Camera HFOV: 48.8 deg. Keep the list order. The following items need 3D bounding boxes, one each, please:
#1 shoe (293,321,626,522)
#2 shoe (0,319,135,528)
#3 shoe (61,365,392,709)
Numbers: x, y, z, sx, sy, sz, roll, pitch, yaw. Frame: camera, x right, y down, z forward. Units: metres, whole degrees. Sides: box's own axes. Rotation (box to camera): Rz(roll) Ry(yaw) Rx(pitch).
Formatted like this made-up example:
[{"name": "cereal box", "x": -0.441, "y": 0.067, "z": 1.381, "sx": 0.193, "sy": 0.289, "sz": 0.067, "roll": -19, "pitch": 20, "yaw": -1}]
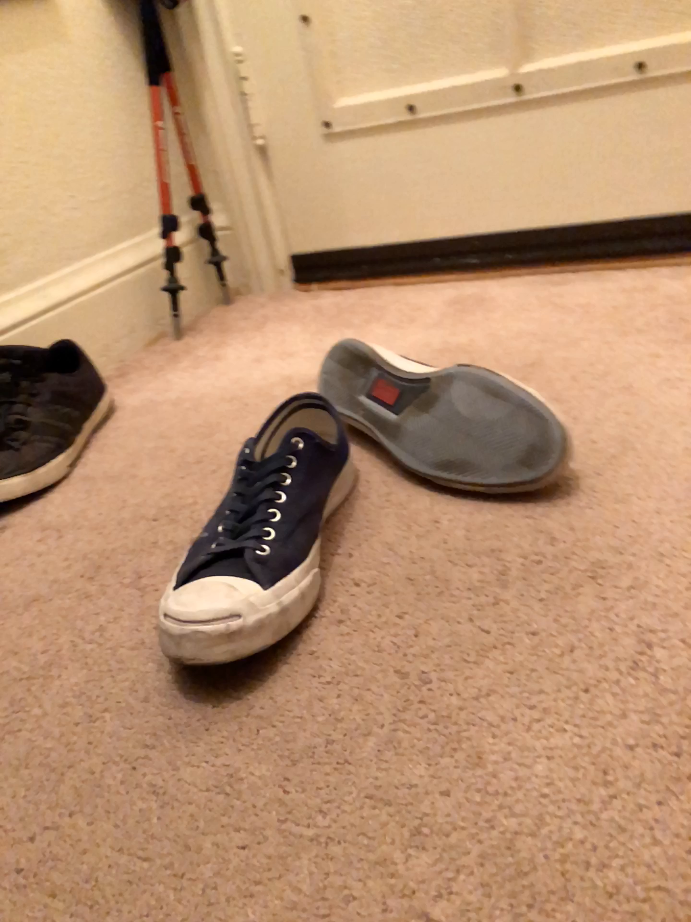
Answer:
[{"name": "shoe", "x": 0.083, "y": -0.046, "z": 0.688, "sx": 0.099, "sy": 0.104, "sz": 0.297, "roll": 3, "pitch": 15, "yaw": -39}, {"name": "shoe", "x": -0.330, "y": -0.055, "z": 0.816, "sx": 0.106, "sy": 0.099, "sz": 0.298, "roll": -8, "pitch": 26, "yaw": 5}, {"name": "shoe", "x": -0.063, "y": 0.035, "z": 0.570, "sx": 0.116, "sy": 0.099, "sz": 0.288, "roll": -2, "pitch": 29, "yaw": 20}]
